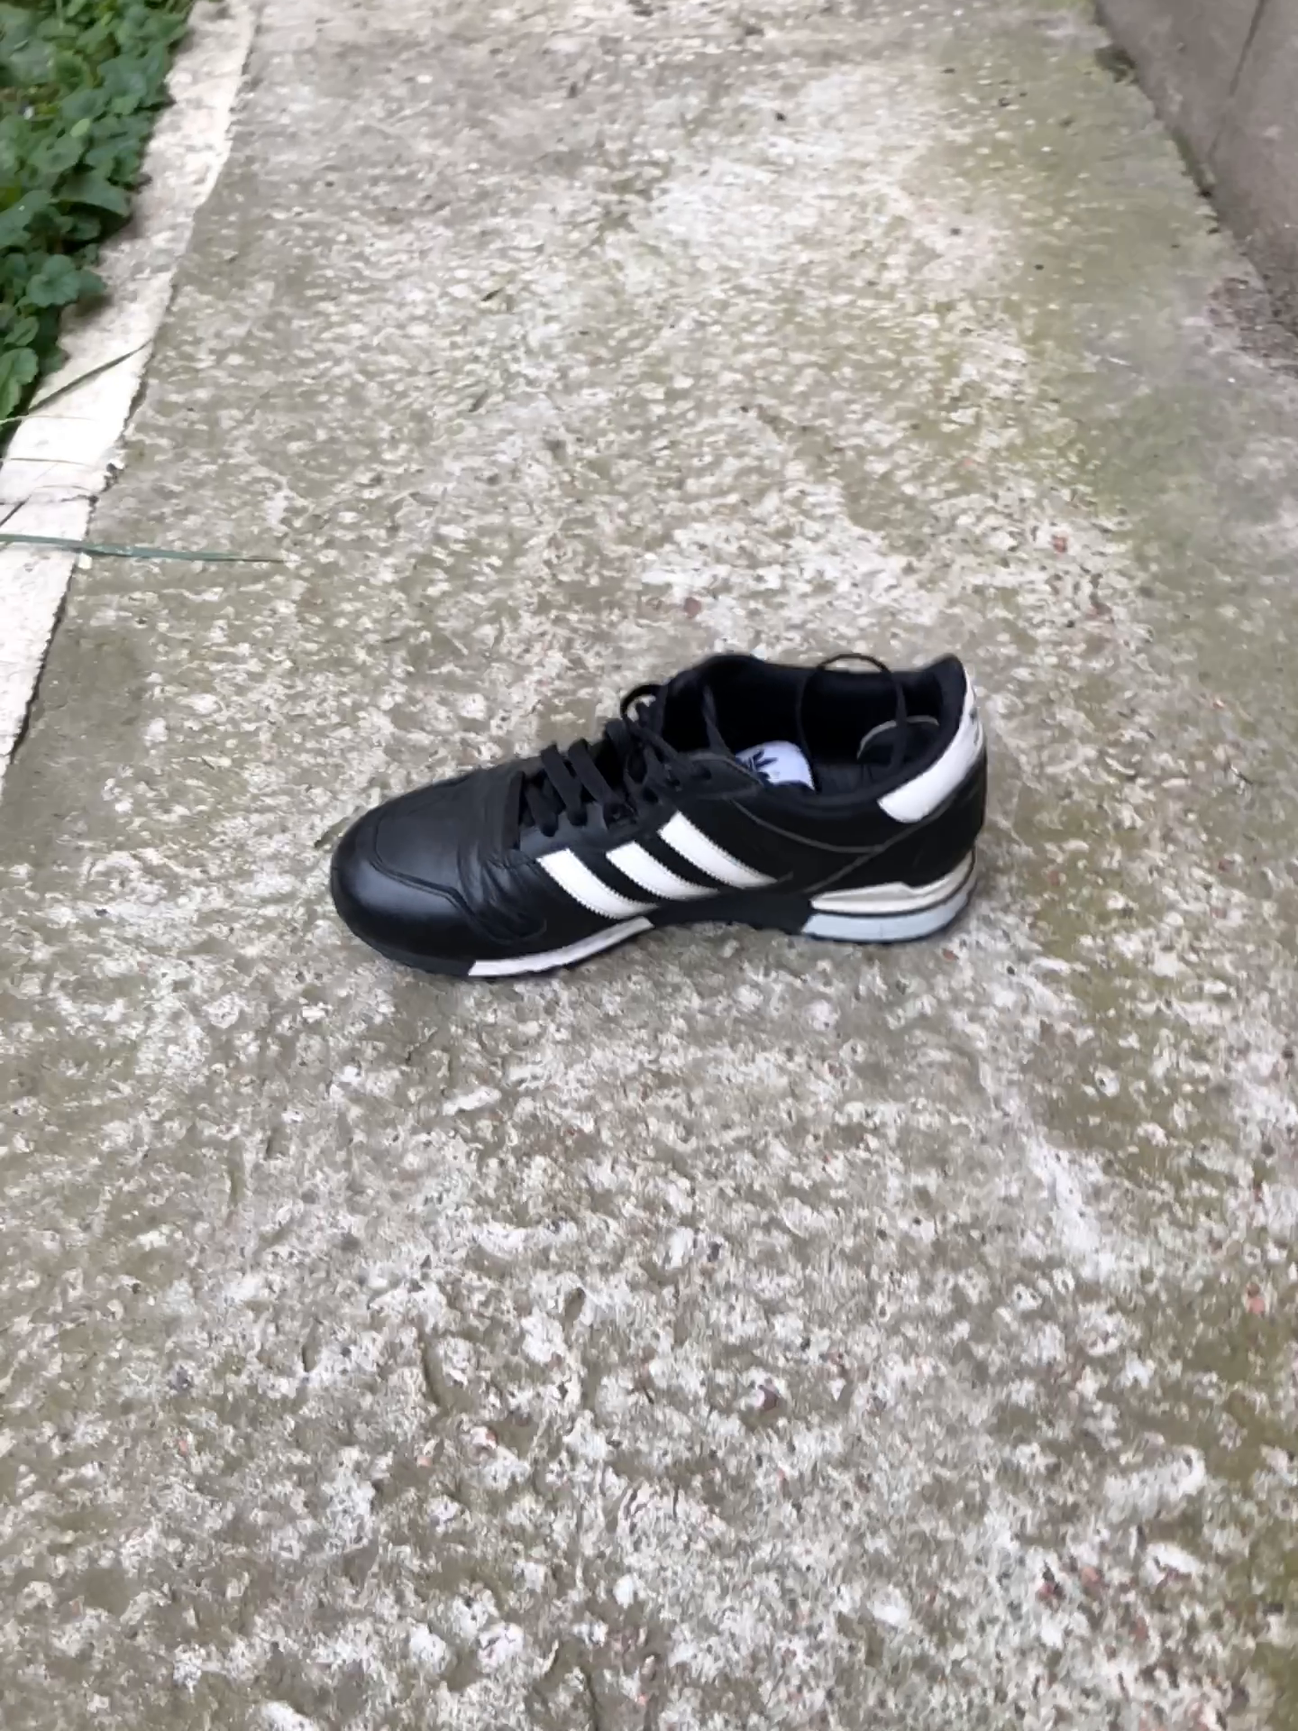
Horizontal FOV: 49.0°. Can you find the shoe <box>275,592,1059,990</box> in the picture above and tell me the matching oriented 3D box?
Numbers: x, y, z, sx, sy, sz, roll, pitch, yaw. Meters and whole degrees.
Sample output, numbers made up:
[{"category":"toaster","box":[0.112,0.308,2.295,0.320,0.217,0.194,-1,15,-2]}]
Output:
[{"category":"shoe","box":[0.003,-0.030,0.584,0.280,0.119,0.101,-2,51,-5]}]
